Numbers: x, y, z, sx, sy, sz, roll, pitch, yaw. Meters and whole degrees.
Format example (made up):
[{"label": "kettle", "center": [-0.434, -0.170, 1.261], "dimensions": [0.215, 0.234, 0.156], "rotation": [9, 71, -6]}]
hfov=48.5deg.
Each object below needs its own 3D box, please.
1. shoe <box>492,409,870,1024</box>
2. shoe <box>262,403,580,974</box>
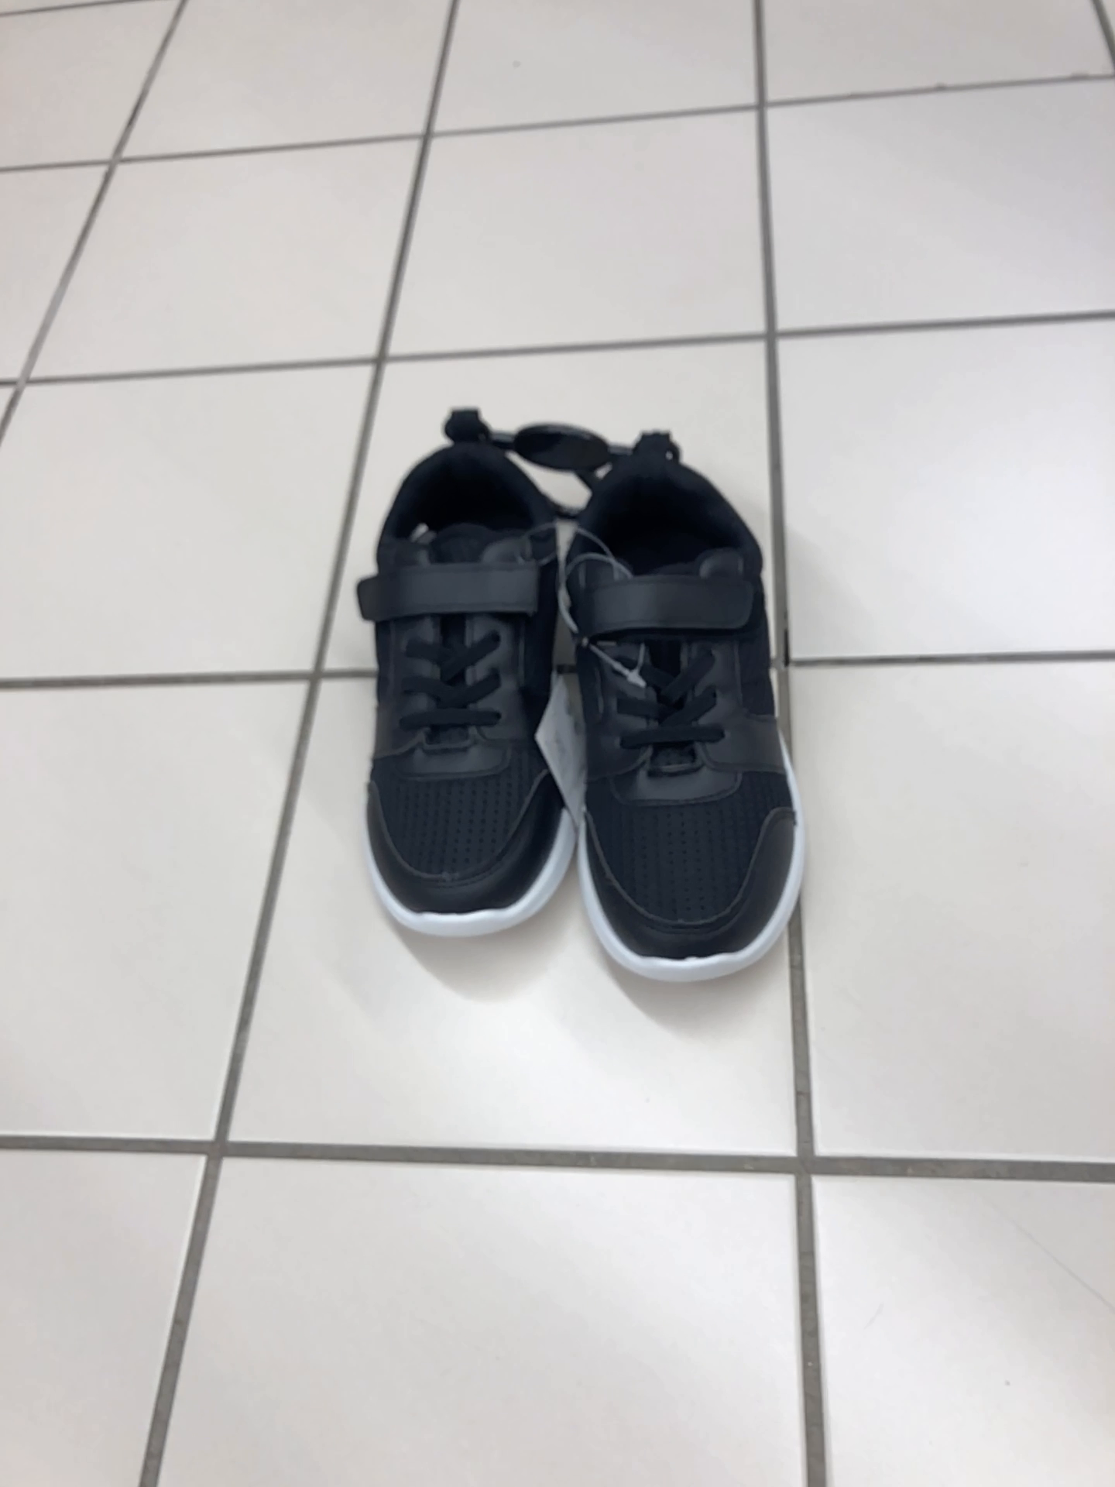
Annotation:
[{"label": "shoe", "center": [0.038, -0.019, 0.468], "dimensions": [0.097, 0.064, 0.223], "rotation": [-10, 56, 2]}, {"label": "shoe", "center": [-0.044, -0.028, 0.487], "dimensions": [0.097, 0.064, 0.223], "rotation": [-4, 57, 6]}]
